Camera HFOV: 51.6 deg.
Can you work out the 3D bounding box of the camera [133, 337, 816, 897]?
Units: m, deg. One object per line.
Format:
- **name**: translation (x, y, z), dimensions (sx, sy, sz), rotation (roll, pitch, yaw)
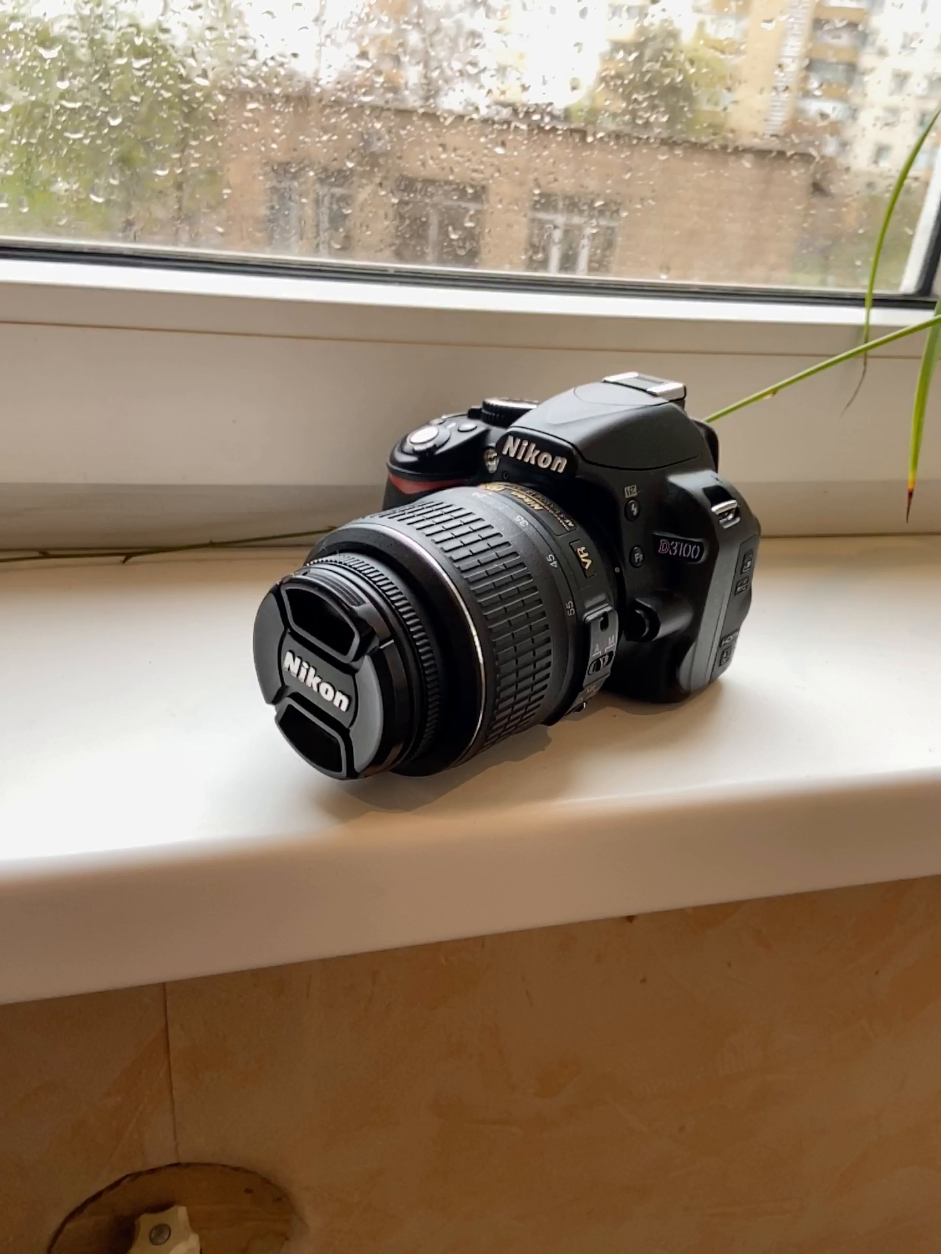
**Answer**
- **camera**: translation (0.005, -0.023, 0.299), dimensions (0.122, 0.092, 0.159), rotation (26, 33, 33)
